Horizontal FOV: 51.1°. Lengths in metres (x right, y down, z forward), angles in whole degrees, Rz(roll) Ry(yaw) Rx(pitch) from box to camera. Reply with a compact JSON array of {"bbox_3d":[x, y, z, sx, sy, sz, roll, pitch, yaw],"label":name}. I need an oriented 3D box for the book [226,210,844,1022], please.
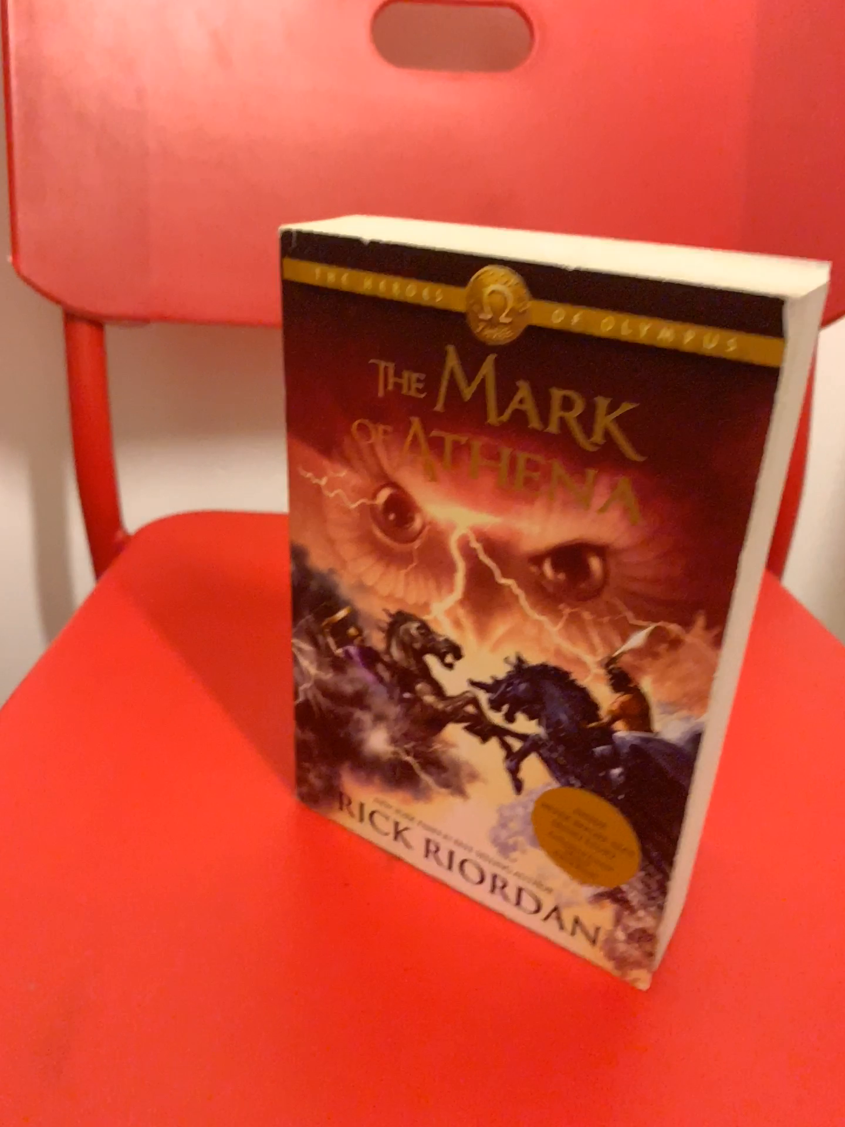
[{"bbox_3d":[0.025,0.012,0.252,0.139,0.194,0.061,15,30,23],"label":"book"}]
